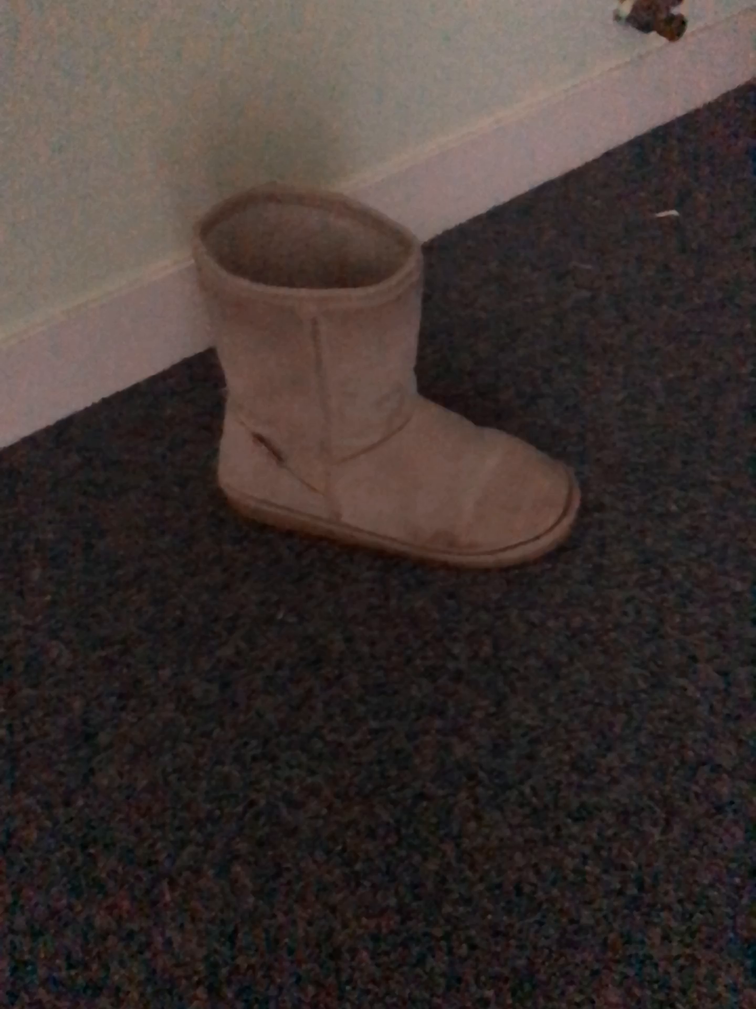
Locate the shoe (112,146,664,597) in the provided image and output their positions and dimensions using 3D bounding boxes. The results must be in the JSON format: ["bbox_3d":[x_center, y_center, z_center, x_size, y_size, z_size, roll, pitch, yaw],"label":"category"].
[{"bbox_3d":[0.010,-0.076,0.522,0.270,0.209,0.121,12,54,9],"label":"shoe"}]
